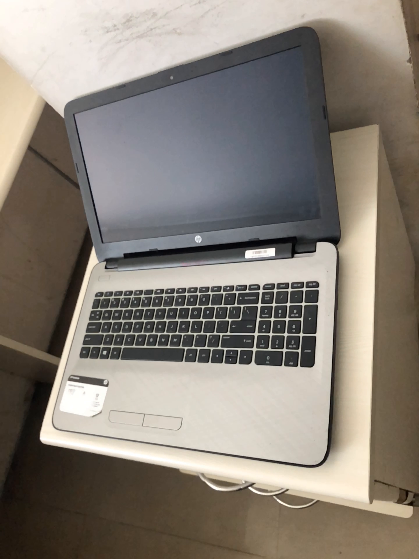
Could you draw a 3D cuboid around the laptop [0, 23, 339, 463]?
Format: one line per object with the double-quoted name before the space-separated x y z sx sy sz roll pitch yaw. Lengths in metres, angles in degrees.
"laptop" -0.052 -0.038 0.555 0.362 0.136 0.426 -4 66 29
